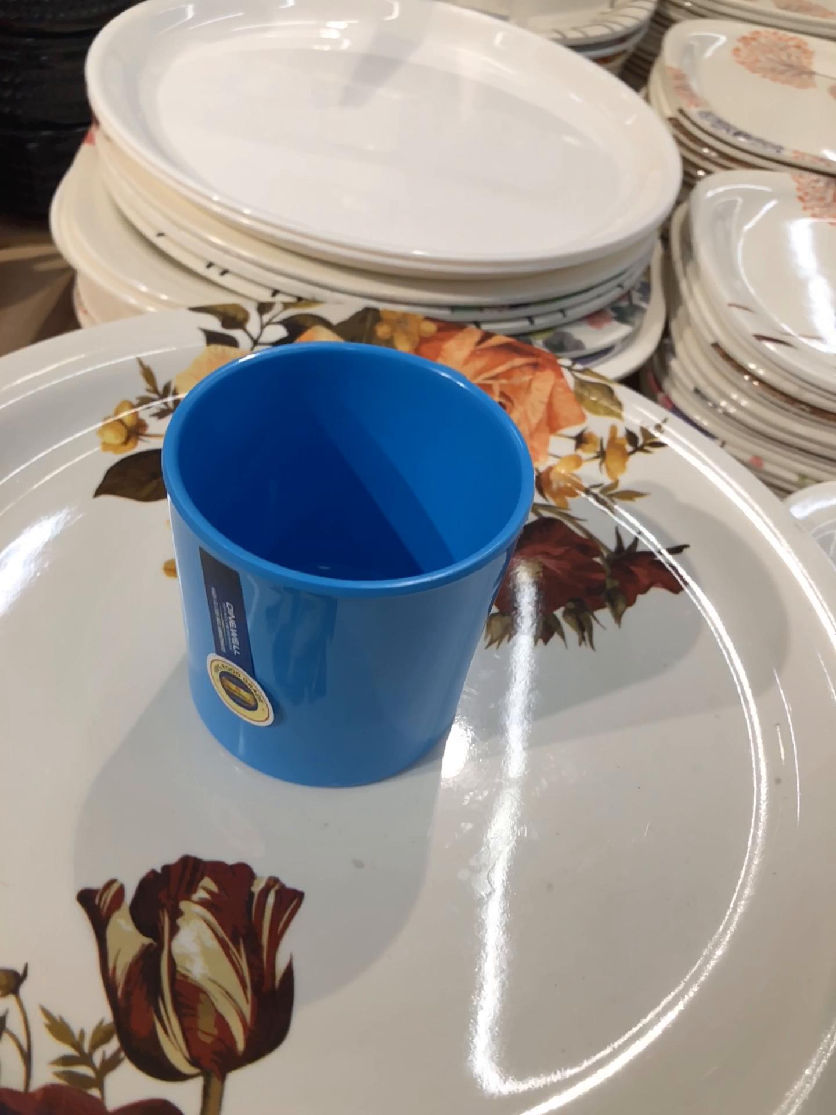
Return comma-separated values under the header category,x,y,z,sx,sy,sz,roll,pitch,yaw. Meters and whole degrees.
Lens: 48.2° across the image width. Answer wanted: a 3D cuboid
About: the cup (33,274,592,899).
category,x,y,z,sx,sy,sz,roll,pitch,yaw
cup,-0.022,0.004,0.243,0.080,0.089,0.111,25,50,11
